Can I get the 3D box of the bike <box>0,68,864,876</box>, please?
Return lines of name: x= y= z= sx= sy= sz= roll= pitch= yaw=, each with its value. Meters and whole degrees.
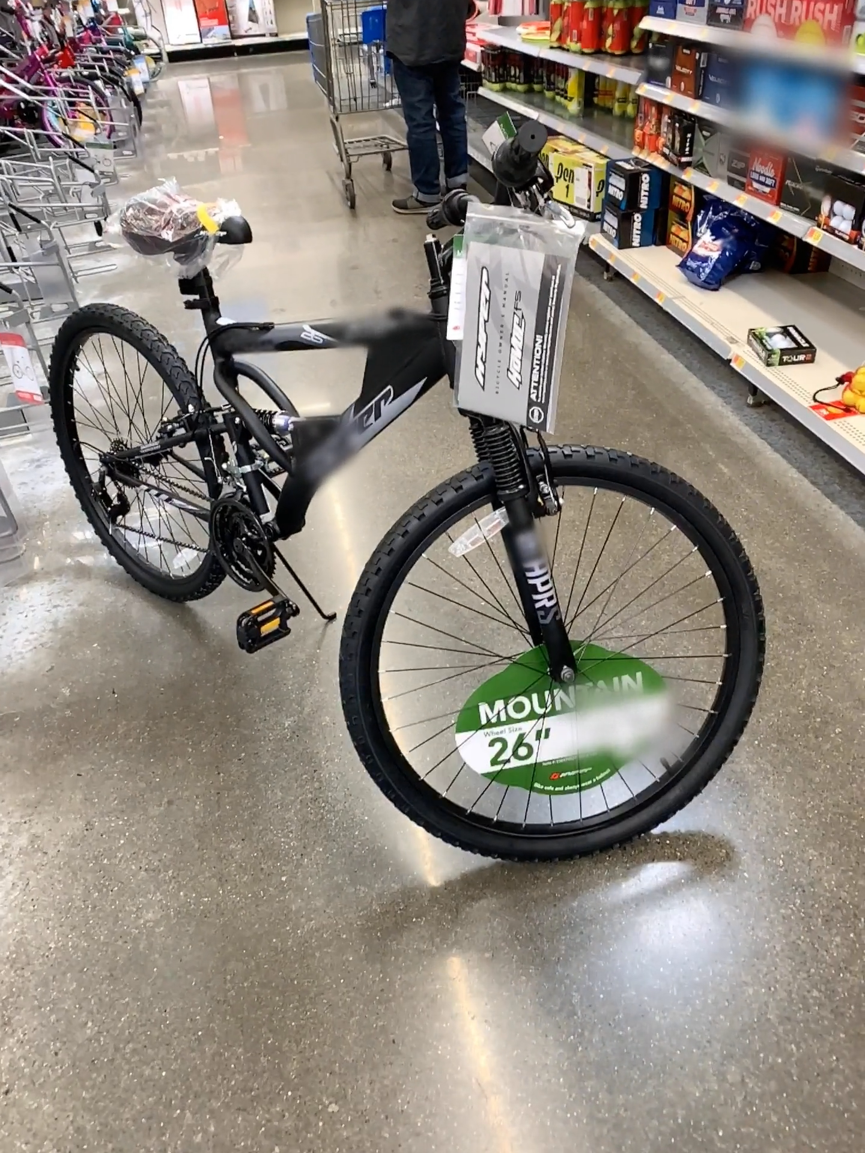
bike: x=-0.149 y=-0.335 z=1.816 sx=1.680 sy=1.089 sz=0.694 roll=18 pitch=41 yaw=26
